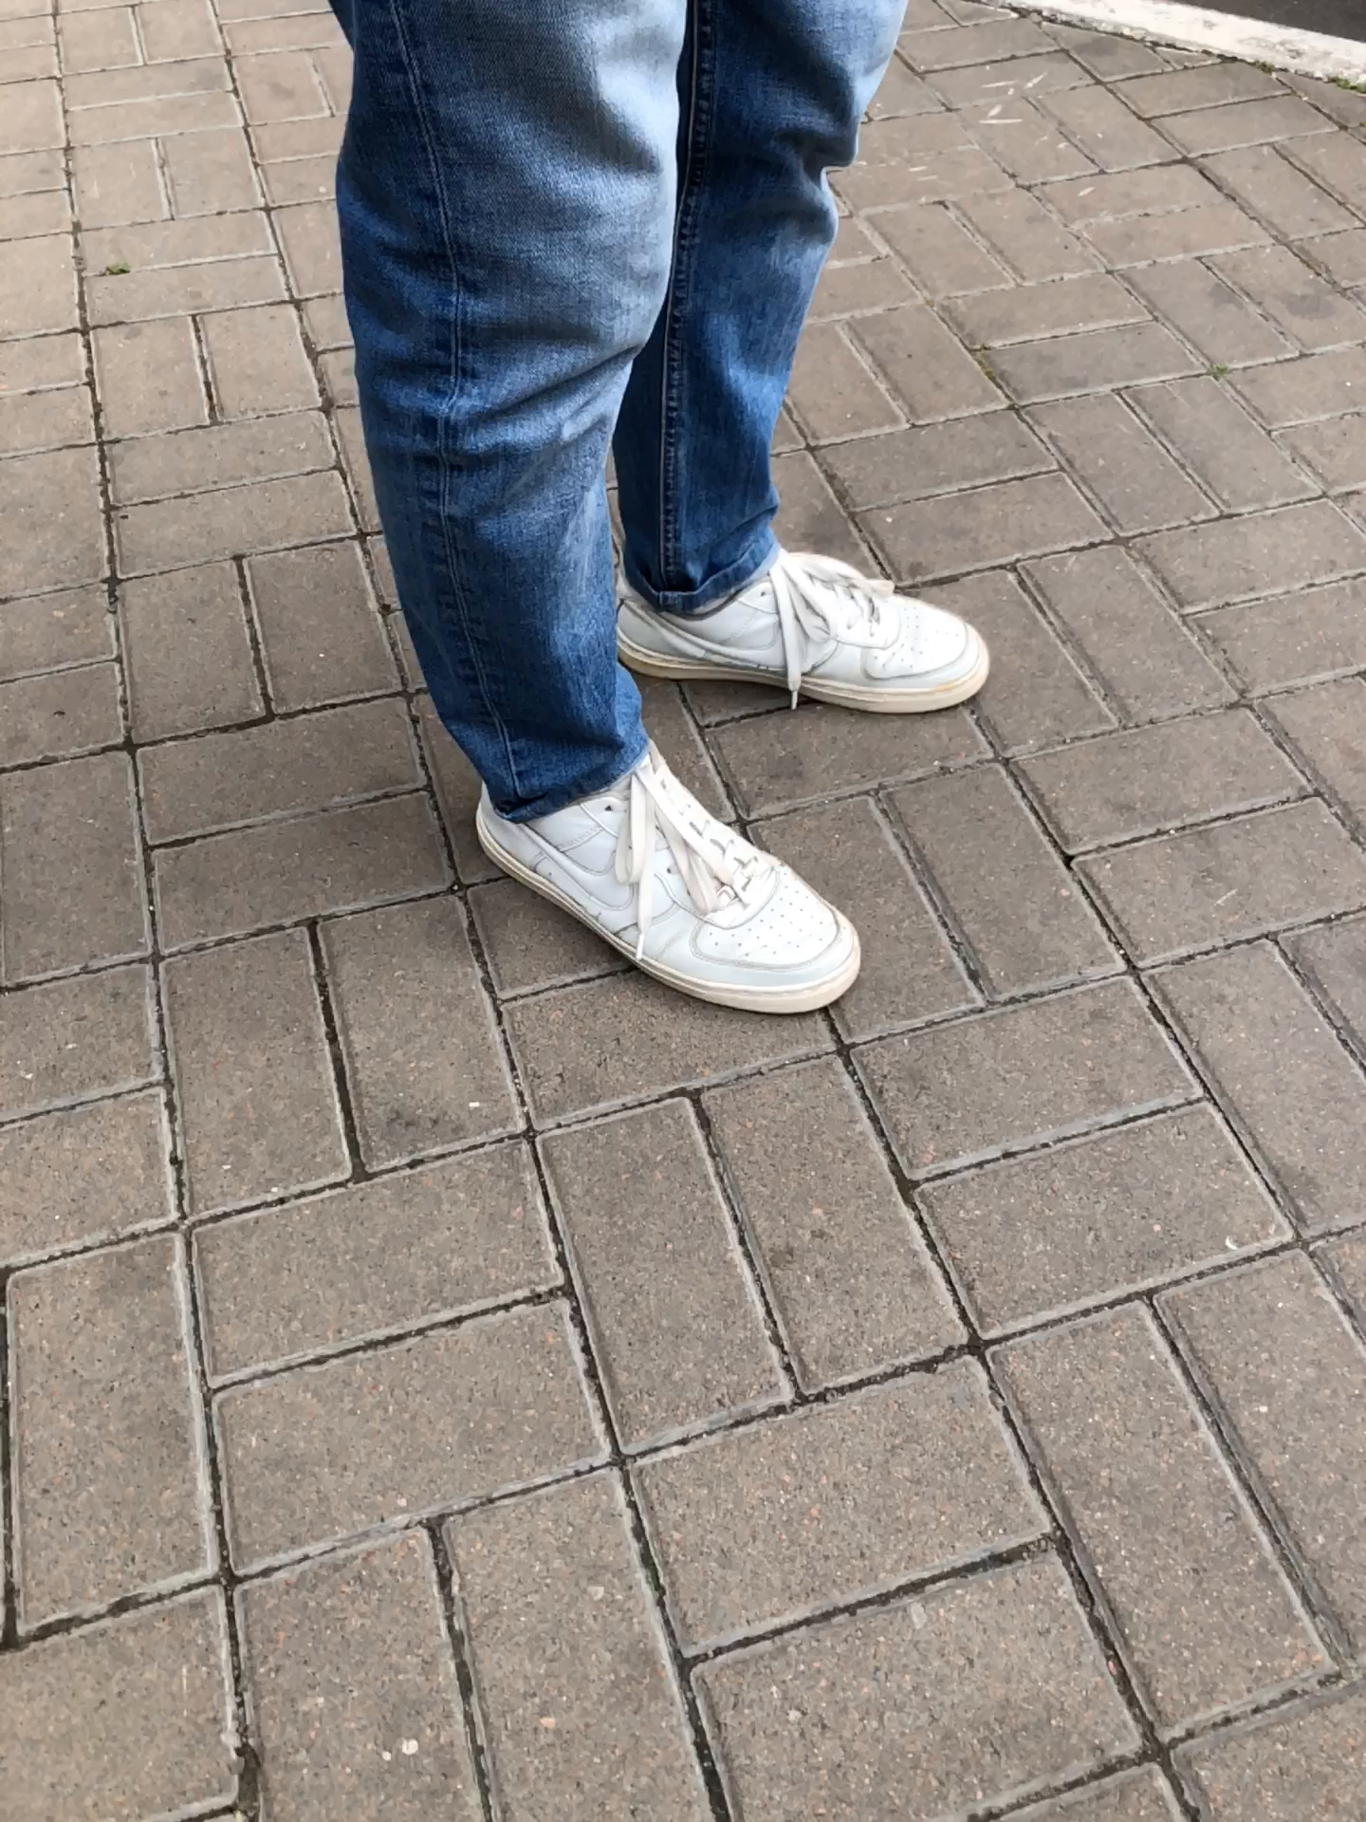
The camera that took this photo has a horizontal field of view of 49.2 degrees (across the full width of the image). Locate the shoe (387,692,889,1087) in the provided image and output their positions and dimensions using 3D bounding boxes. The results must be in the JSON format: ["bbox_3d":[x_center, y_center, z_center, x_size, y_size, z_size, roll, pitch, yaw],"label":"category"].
[{"bbox_3d":[-0.031,-0.022,0.955,0.301,0.070,0.121,29,58,23],"label":"shoe"}]

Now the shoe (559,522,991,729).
[{"bbox_3d":[0.070,-0.214,1.108,0.300,0.070,0.111,7,52,8],"label":"shoe"}]
